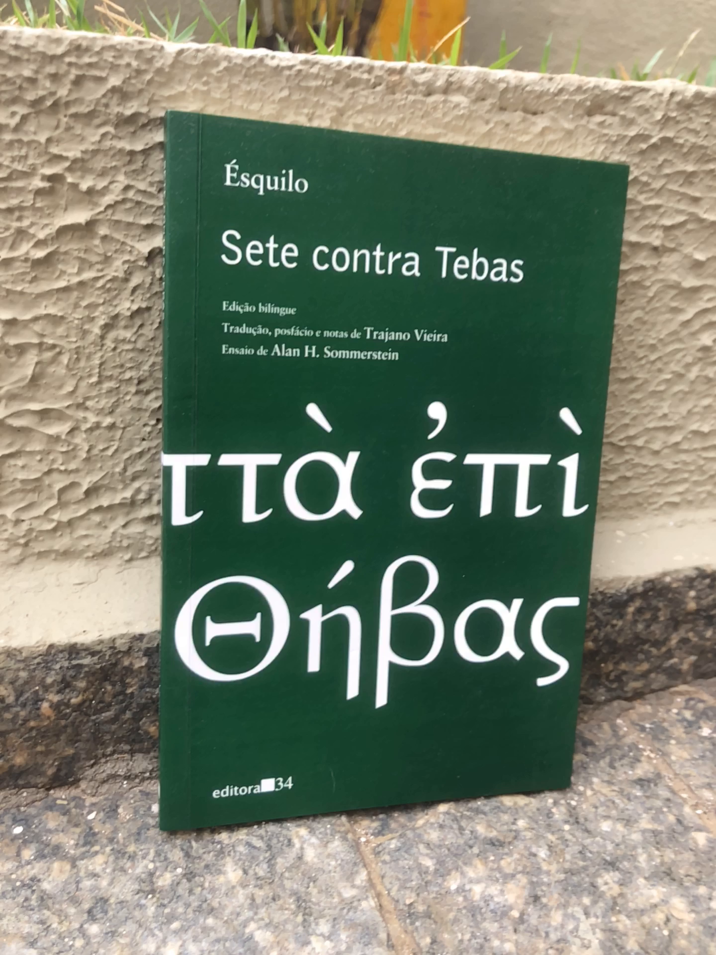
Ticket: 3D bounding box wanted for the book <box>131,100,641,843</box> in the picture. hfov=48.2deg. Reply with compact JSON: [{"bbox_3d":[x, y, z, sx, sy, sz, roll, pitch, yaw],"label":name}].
[{"bbox_3d":[0.010,0.001,0.235,0.140,0.196,0.020,-2,8,-13],"label":"book"}]
